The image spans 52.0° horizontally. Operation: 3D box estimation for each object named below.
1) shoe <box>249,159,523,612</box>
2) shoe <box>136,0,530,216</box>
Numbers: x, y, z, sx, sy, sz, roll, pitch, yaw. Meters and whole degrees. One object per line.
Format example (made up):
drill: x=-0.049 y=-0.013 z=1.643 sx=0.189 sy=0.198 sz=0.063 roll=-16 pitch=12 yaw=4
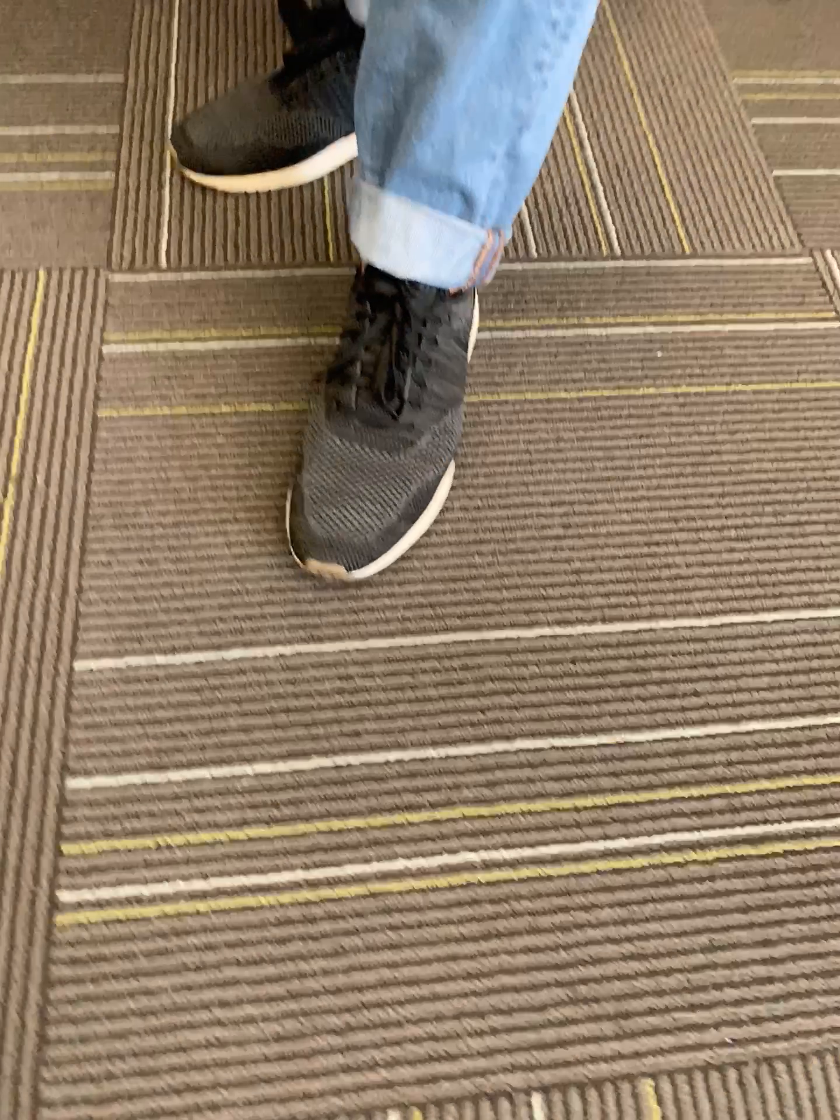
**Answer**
shoe: x=-0.015 y=-0.133 z=0.623 sx=0.112 sy=0.106 sz=0.307 roll=13 pitch=63 yaw=3
shoe: x=-0.072 y=-0.421 z=0.761 sx=0.306 sy=0.106 sz=0.110 roll=-21 pitch=66 yaw=-14
